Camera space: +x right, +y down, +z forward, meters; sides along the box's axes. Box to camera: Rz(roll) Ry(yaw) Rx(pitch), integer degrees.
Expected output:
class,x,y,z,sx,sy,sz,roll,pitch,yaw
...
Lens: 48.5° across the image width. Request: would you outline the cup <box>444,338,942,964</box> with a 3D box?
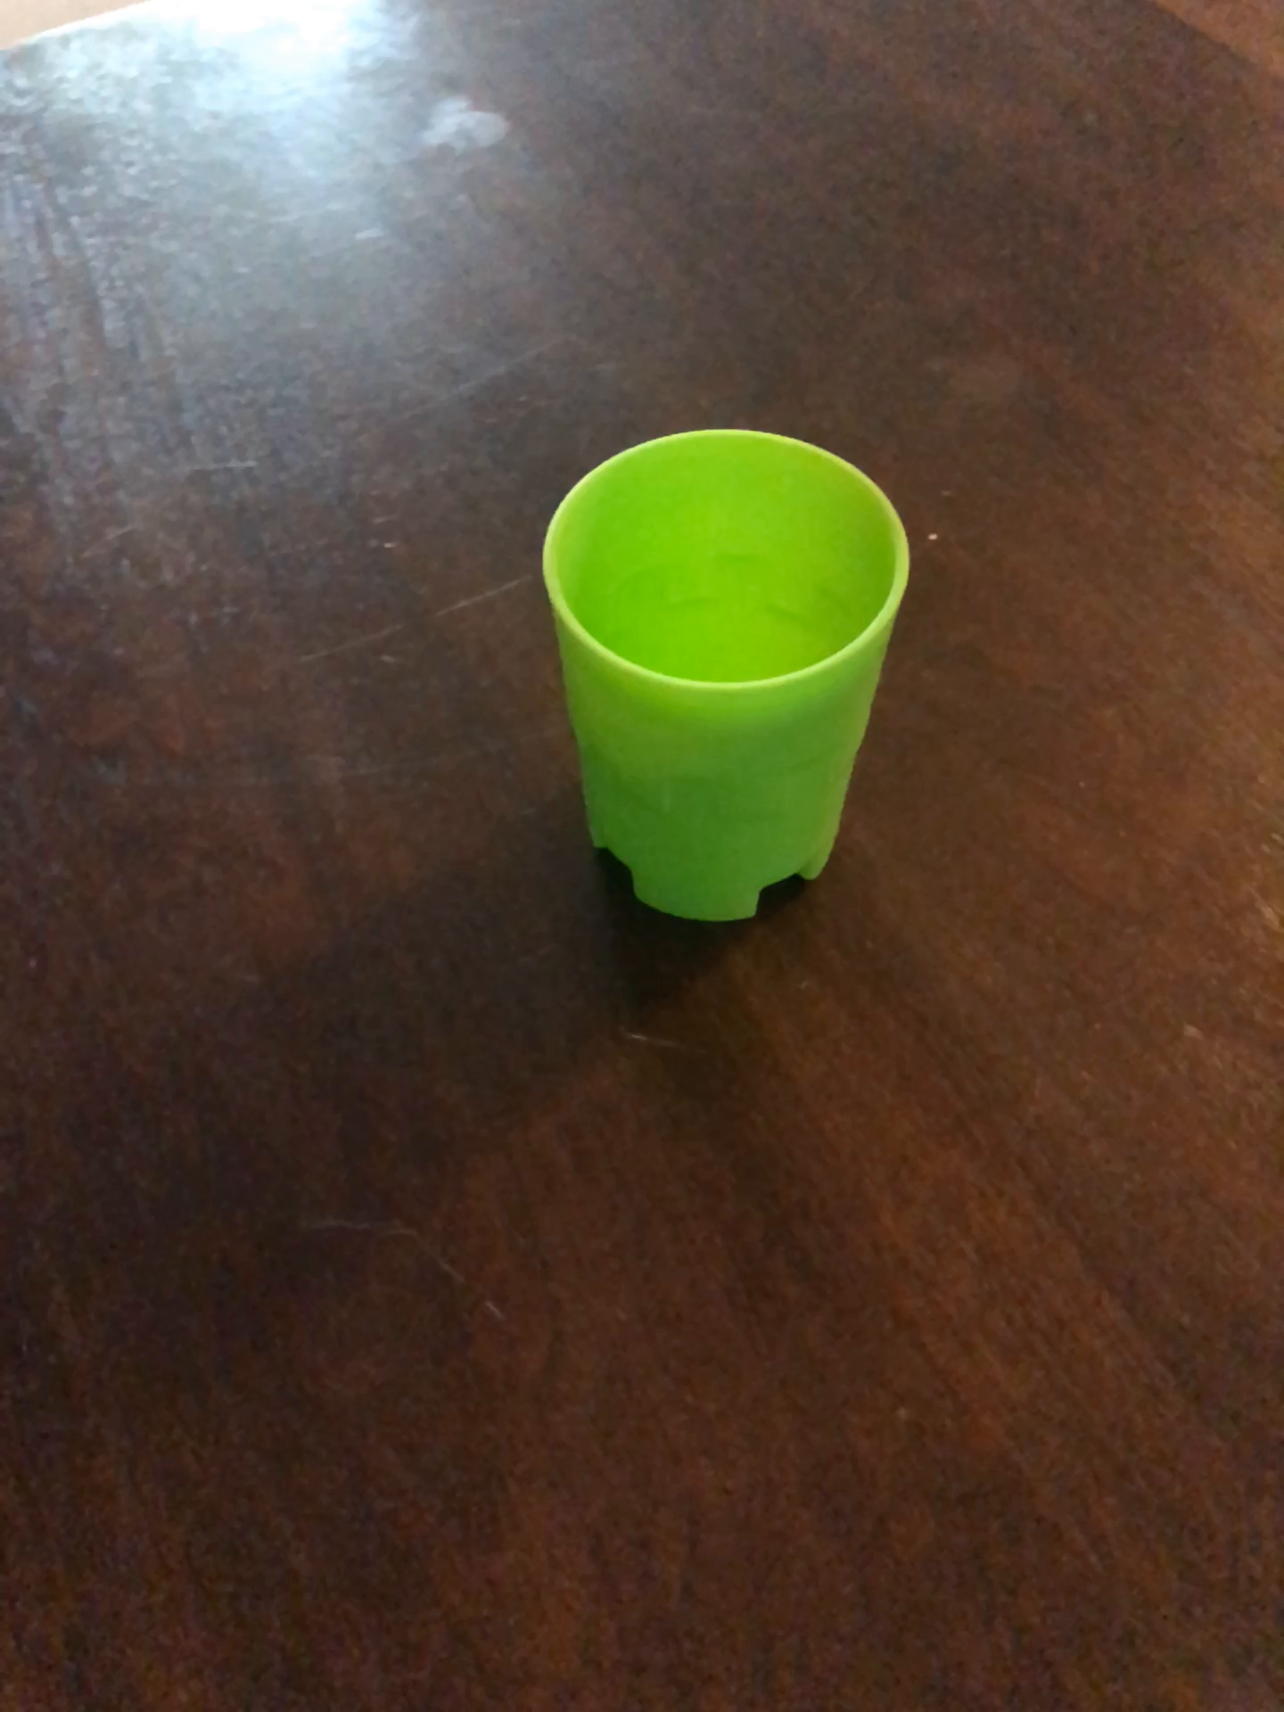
class,x,y,z,sx,sy,sz,roll,pitch,yaw
cup,0.007,-0.039,0.288,0.070,0.090,0.070,-1,56,1
